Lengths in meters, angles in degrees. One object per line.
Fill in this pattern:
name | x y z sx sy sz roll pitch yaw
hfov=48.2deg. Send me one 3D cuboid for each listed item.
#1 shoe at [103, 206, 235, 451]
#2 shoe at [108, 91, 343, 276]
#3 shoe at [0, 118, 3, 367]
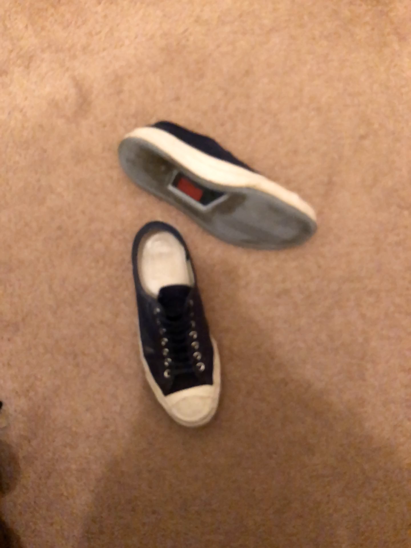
shoe | -0.045 0.068 0.619 0.116 0.099 0.286 -10 86 1
shoe | 0.021 -0.123 0.641 0.296 0.104 0.099 25 60 3
shoe | -0.403 -0.039 0.620 0.106 0.099 0.296 -26 84 -1
